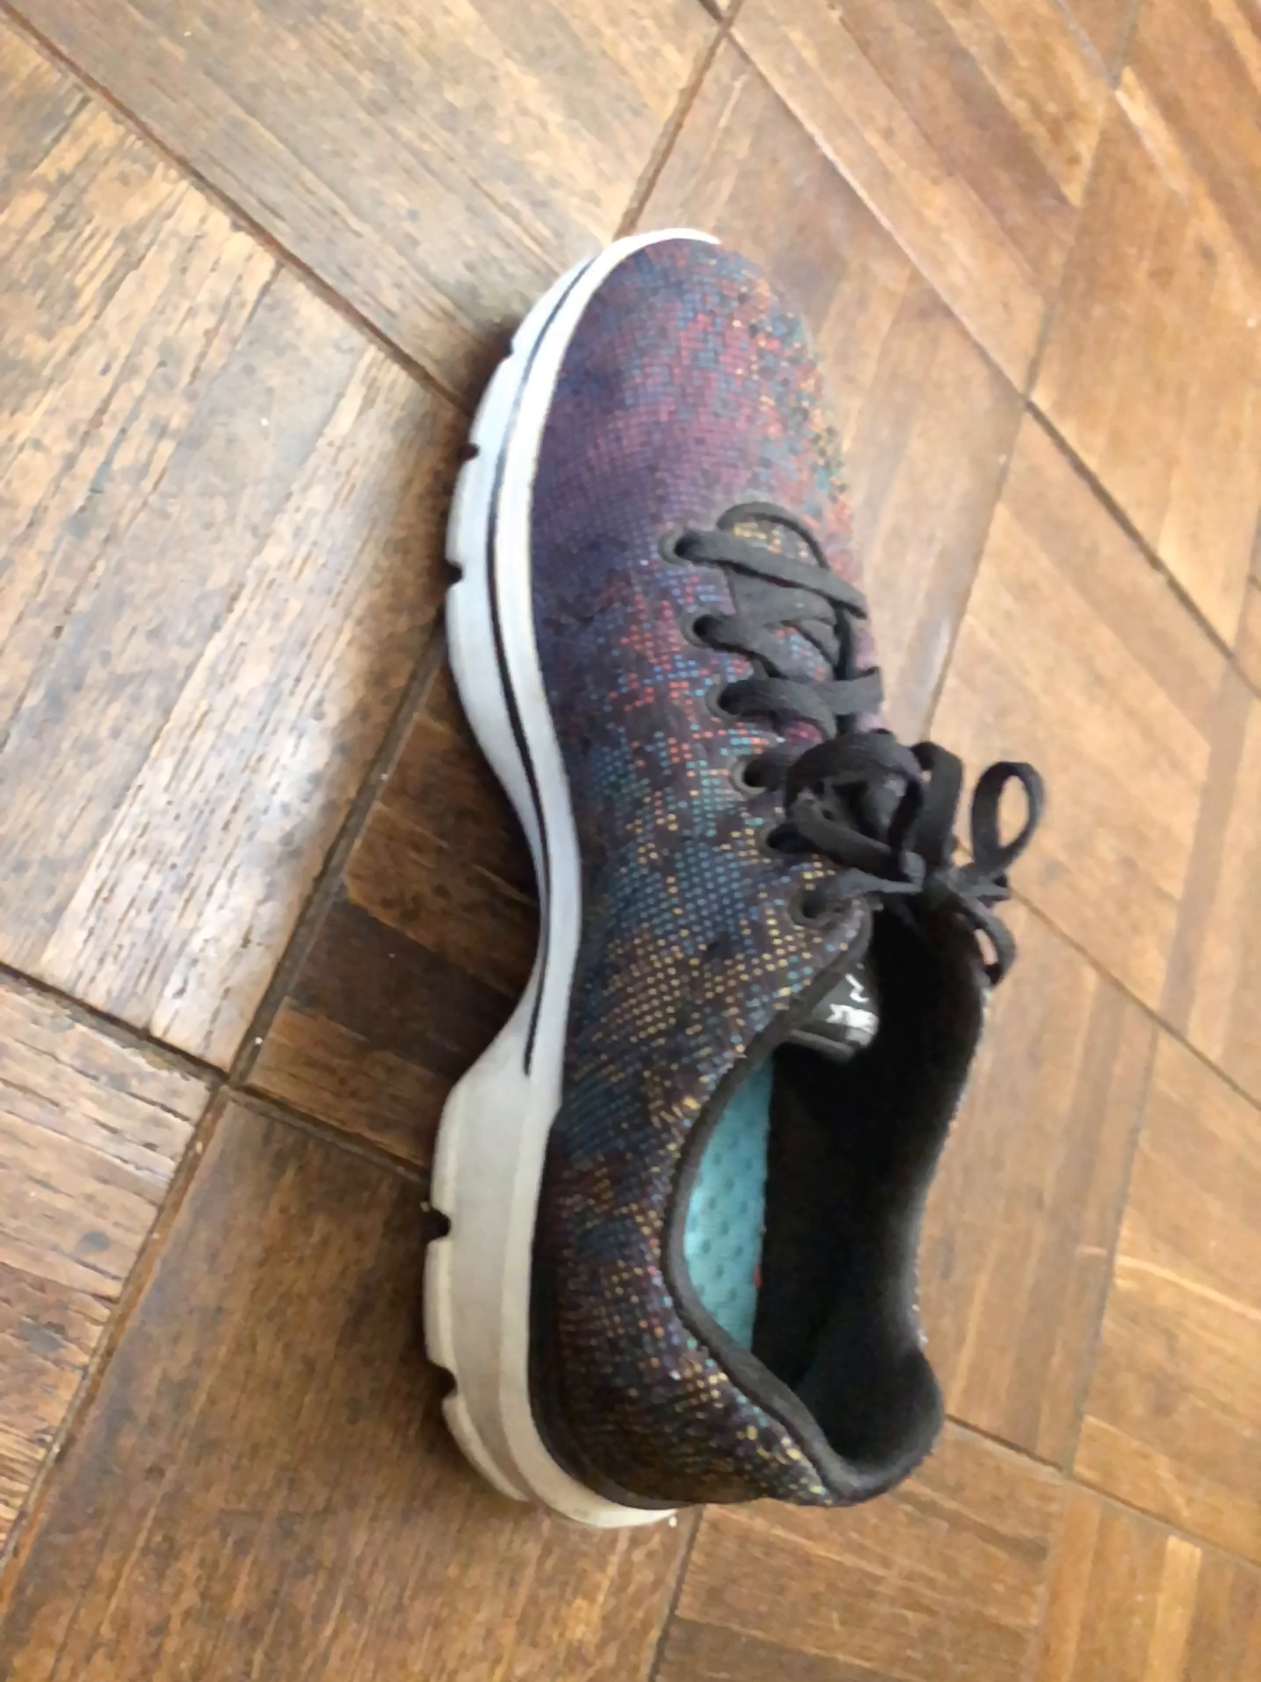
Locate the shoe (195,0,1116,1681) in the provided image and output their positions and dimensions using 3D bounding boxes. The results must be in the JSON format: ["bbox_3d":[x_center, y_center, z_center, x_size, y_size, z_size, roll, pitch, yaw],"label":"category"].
[{"bbox_3d":[0.010,-0.003,0.284,0.111,0.119,0.290,14,76,-39],"label":"shoe"}]
